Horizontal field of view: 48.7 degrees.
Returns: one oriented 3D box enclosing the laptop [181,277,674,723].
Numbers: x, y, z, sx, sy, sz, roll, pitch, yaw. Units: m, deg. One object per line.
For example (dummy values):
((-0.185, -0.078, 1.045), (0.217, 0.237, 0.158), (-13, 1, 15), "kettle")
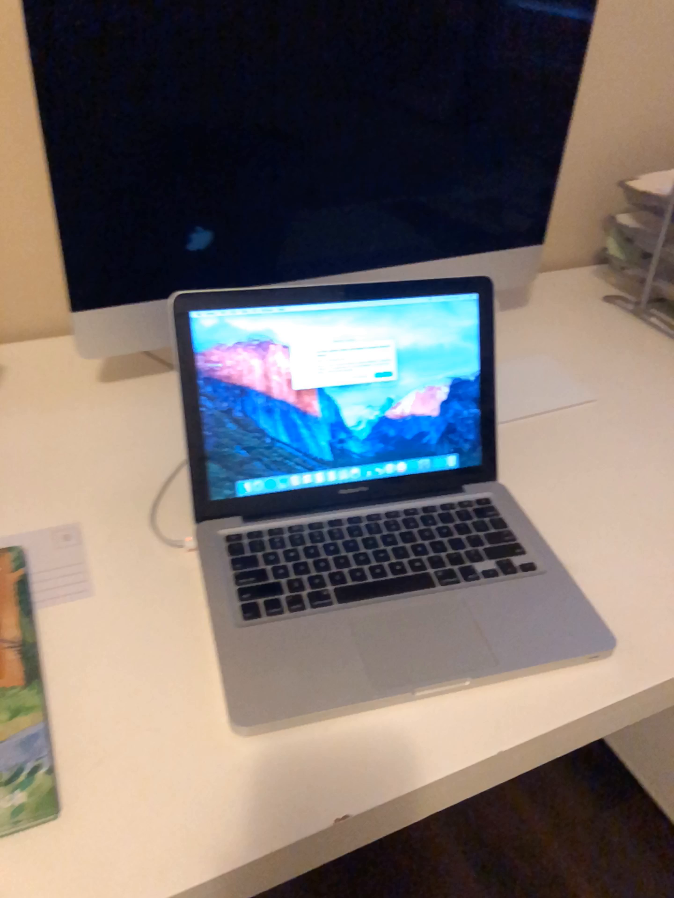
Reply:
((0.040, 0.013, 0.641), (0.302, 0.187, 0.314), (-7, 38, -14), "laptop")
